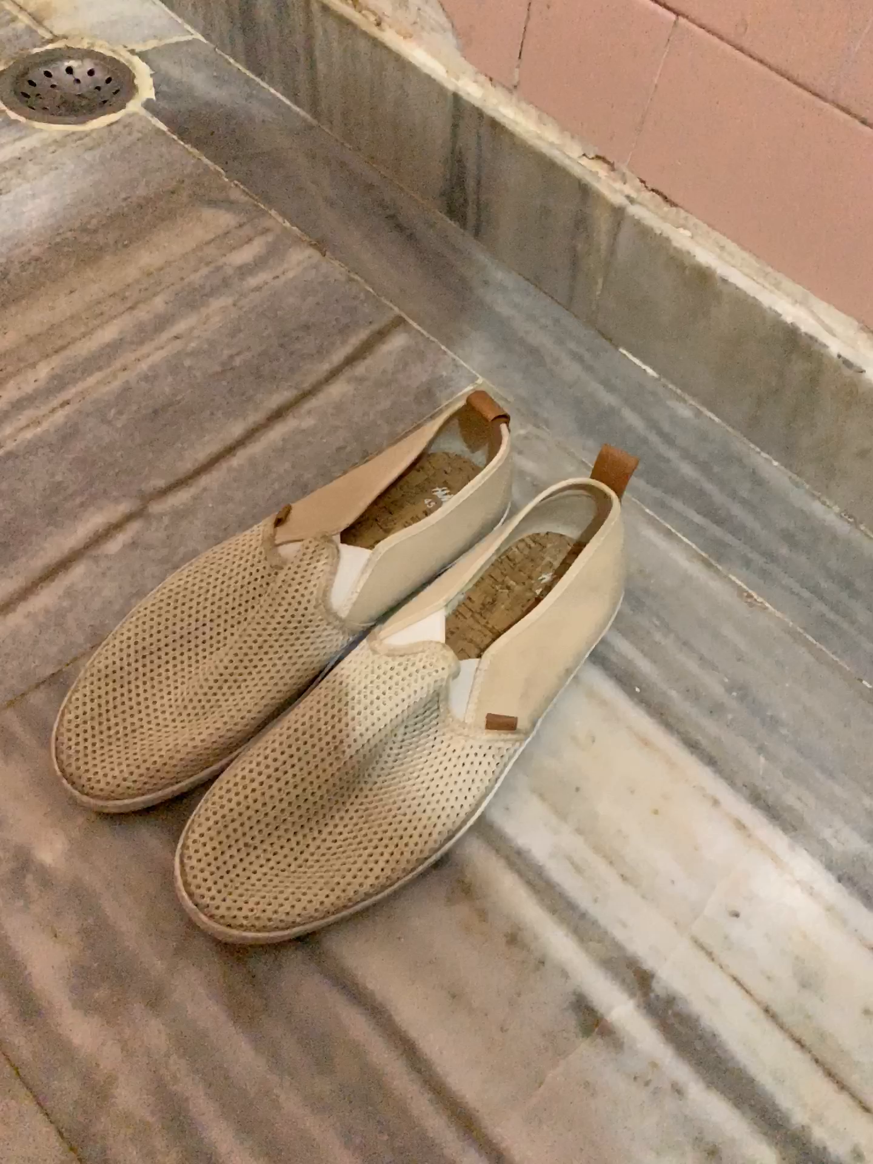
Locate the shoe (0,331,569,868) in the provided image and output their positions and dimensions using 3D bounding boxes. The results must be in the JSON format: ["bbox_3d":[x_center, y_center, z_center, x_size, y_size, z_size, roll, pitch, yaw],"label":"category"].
[{"bbox_3d":[-0.081,-0.005,0.486,0.310,0.080,0.116,-38,71,-25],"label":"shoe"}]

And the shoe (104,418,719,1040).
[{"bbox_3d":[0.002,0.058,0.457,0.116,0.080,0.310,39,63,15],"label":"shoe"}]
